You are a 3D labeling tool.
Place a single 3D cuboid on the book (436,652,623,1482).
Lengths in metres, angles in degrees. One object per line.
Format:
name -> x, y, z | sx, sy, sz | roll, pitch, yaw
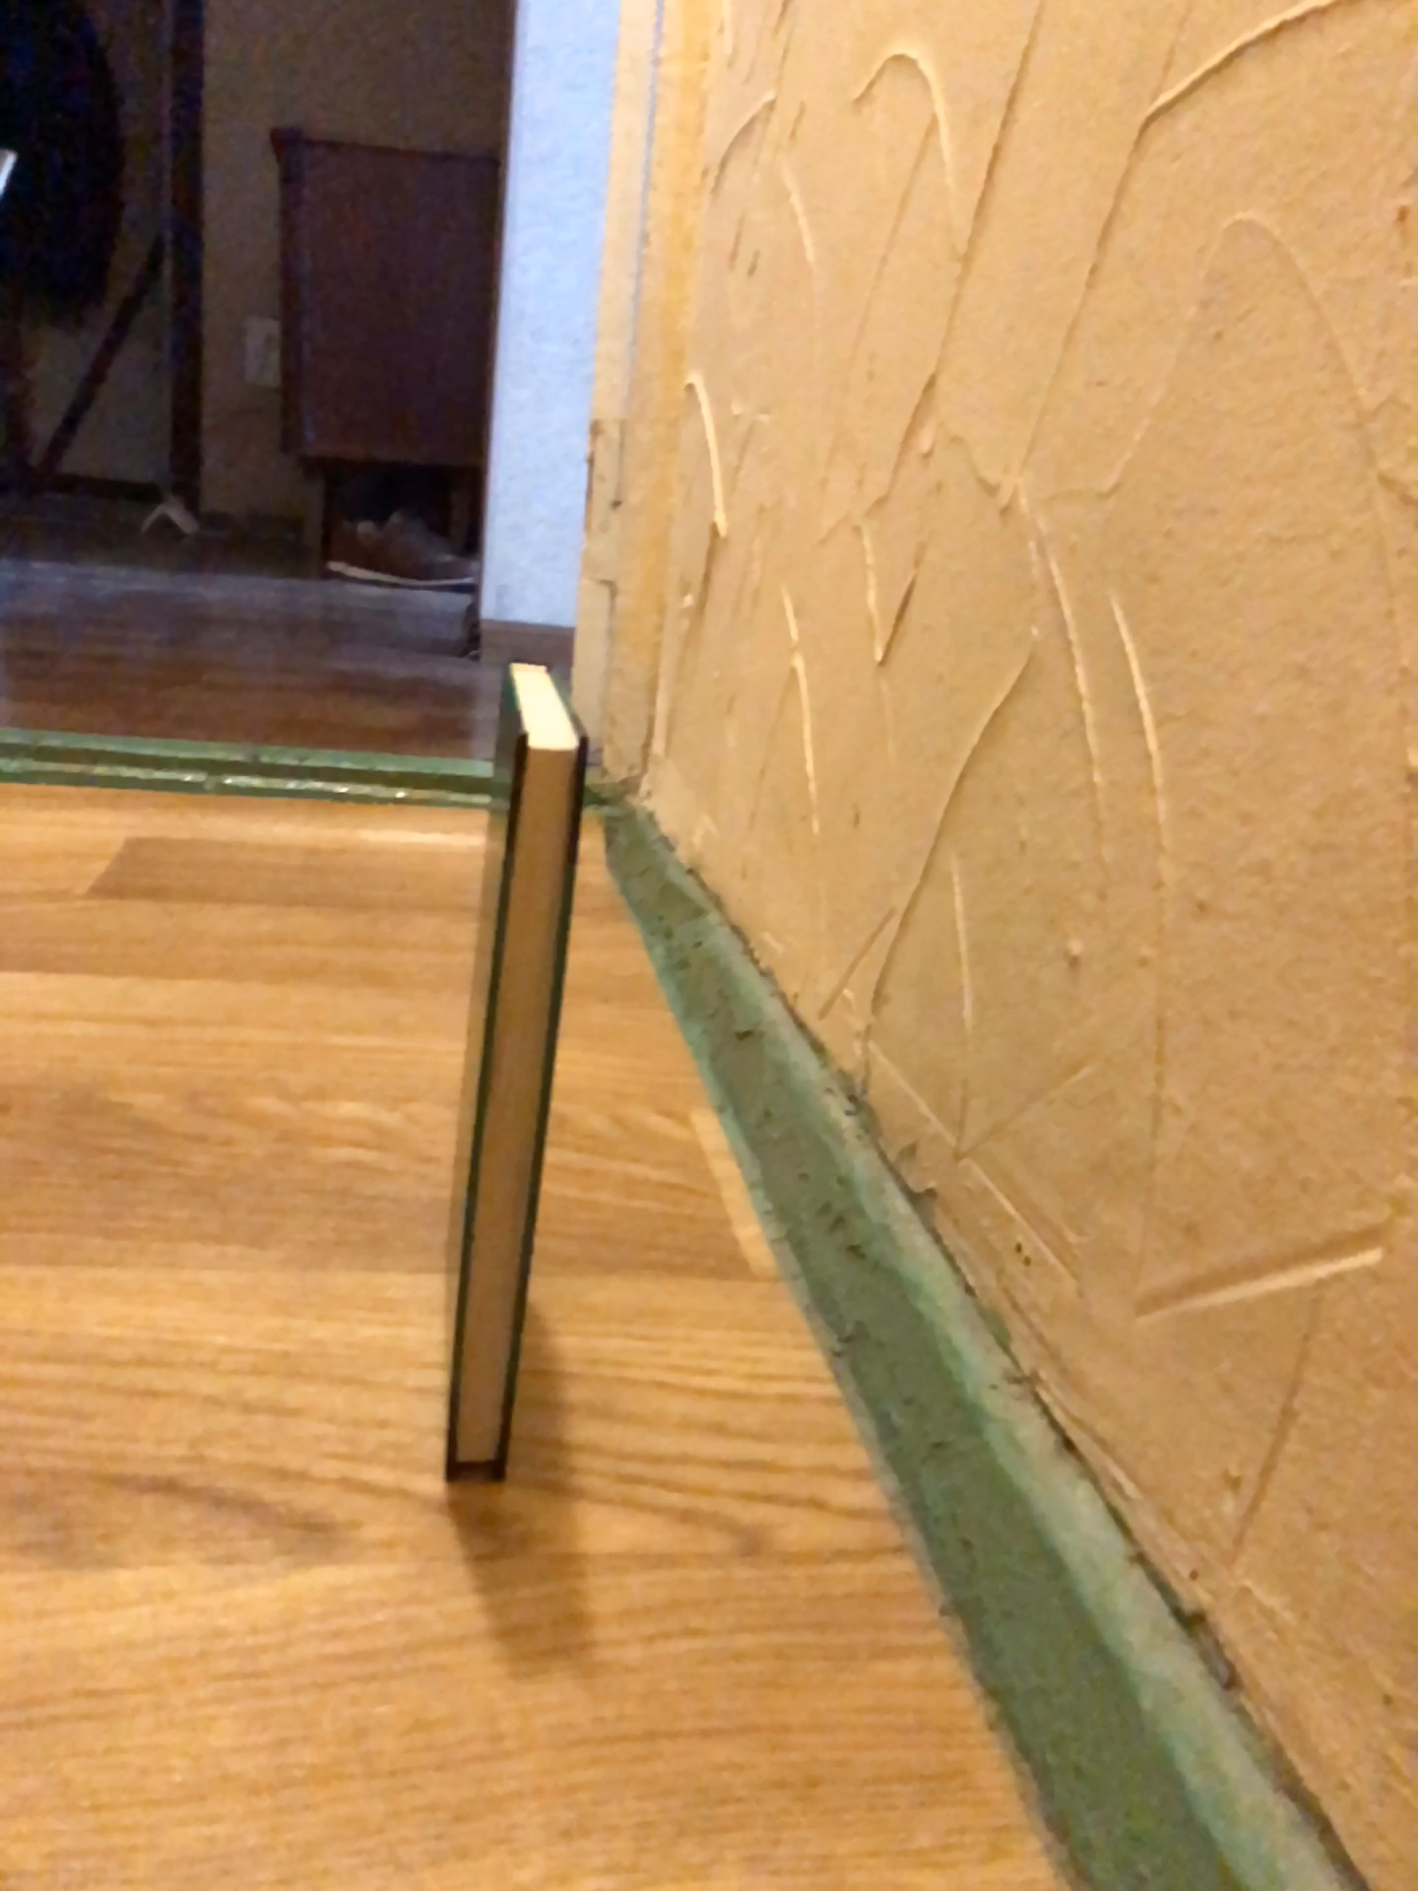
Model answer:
book -> -0.056, 0.024, 0.449 | 0.024, 0.197, 0.148 | 6, 15, -10
